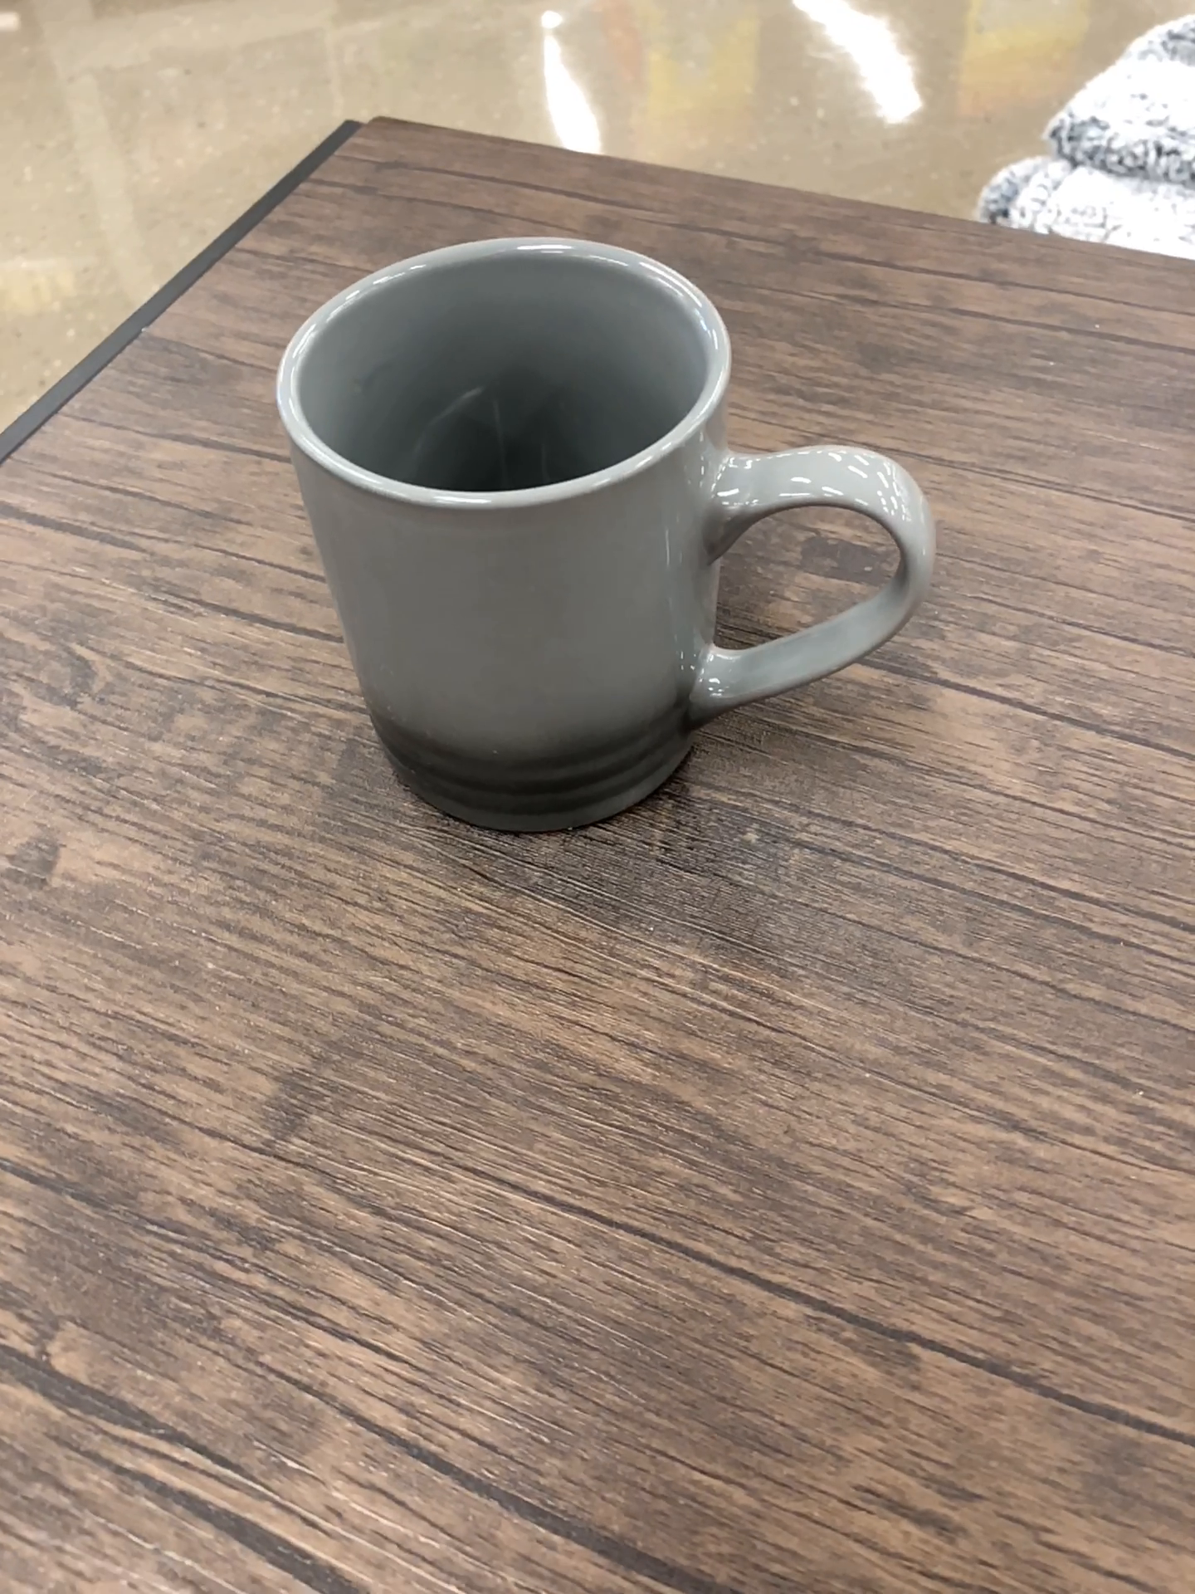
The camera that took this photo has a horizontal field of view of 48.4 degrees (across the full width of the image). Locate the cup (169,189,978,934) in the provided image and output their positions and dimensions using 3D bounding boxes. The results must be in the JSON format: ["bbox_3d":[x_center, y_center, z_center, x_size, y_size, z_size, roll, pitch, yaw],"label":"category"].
[{"bbox_3d":[0.002,-0.050,0.287,0.130,0.110,0.090,10,53,10],"label":"cup"}]
